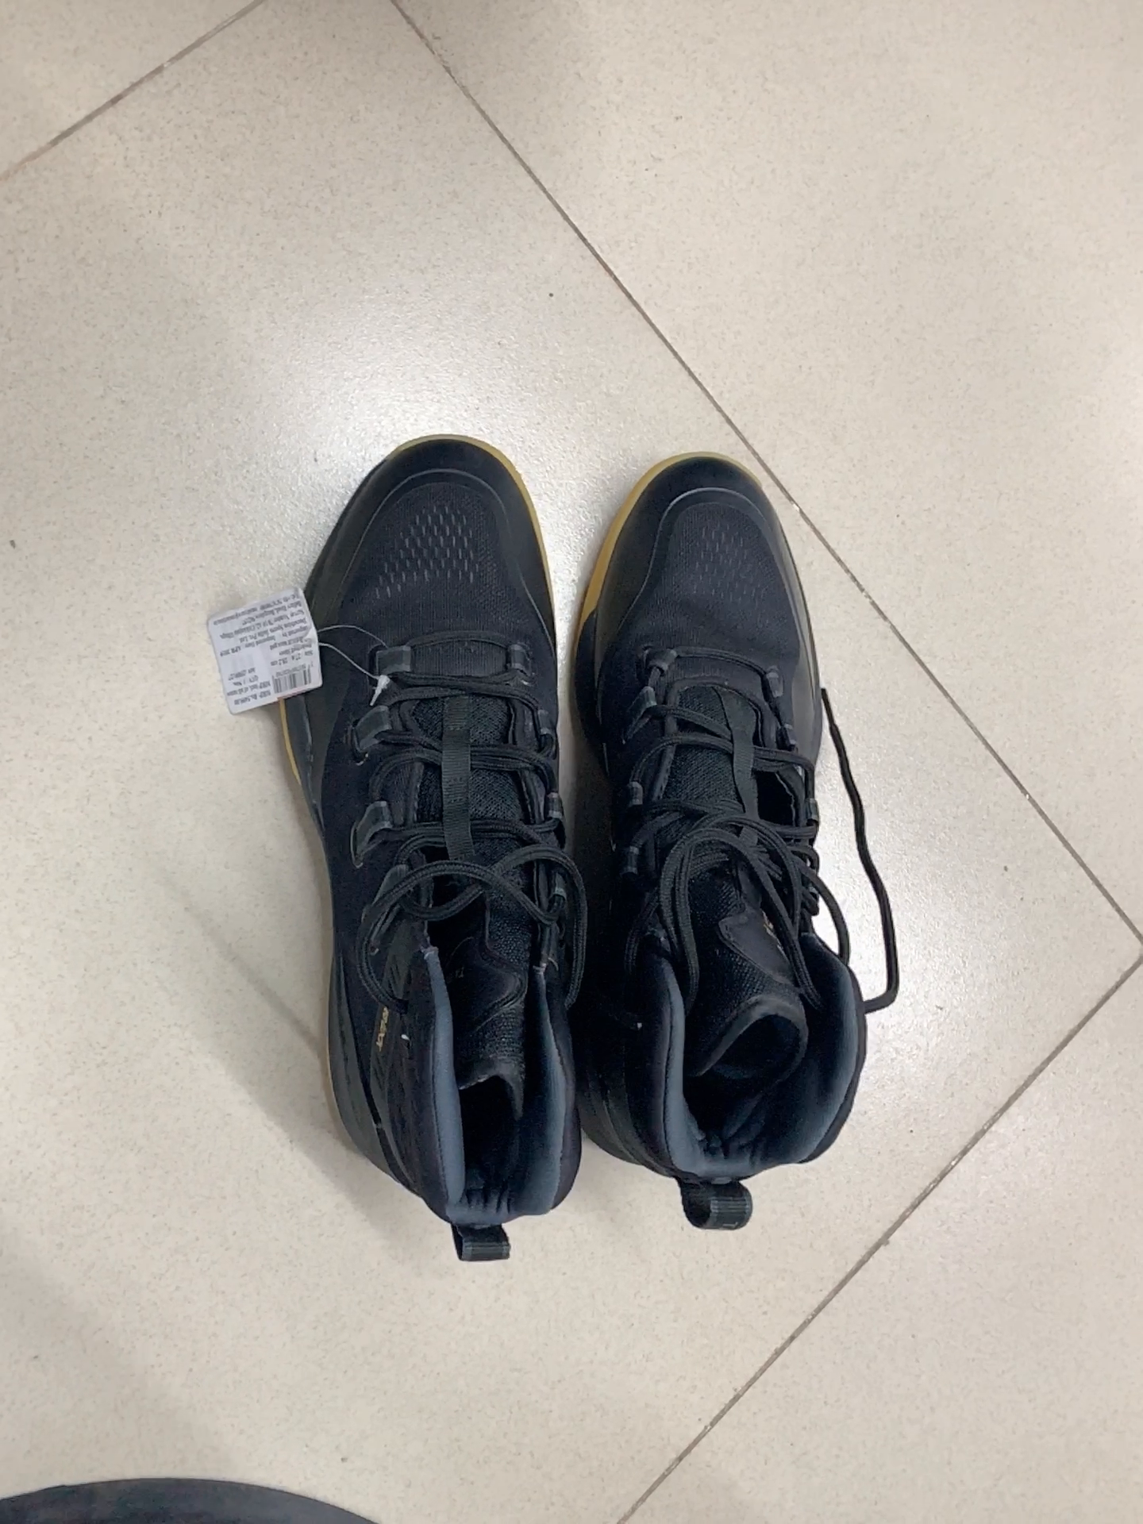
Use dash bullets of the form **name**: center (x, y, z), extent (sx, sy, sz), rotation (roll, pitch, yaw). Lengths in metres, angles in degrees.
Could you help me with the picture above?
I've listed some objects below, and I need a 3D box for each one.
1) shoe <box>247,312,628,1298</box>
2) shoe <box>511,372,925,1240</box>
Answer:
- **shoe**: center (-0.054, 0.012, 0.424), extent (0.110, 0.140, 0.290), rotation (-1, 89, -12)
- **shoe**: center (0.051, 0.018, 0.446), extent (0.110, 0.090, 0.290), rotation (5, 88, -12)
